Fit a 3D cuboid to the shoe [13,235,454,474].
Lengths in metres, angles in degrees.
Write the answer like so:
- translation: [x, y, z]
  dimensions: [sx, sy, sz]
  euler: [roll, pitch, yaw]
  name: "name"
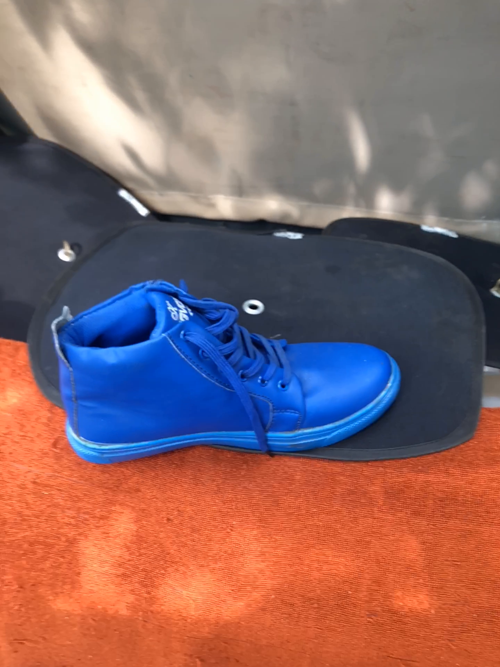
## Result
- translation: [-0.012, 0.016, 0.465]
  dimensions: [0.300, 0.119, 0.131]
  euler: [-4, 46, -2]
  name: "shoe"
